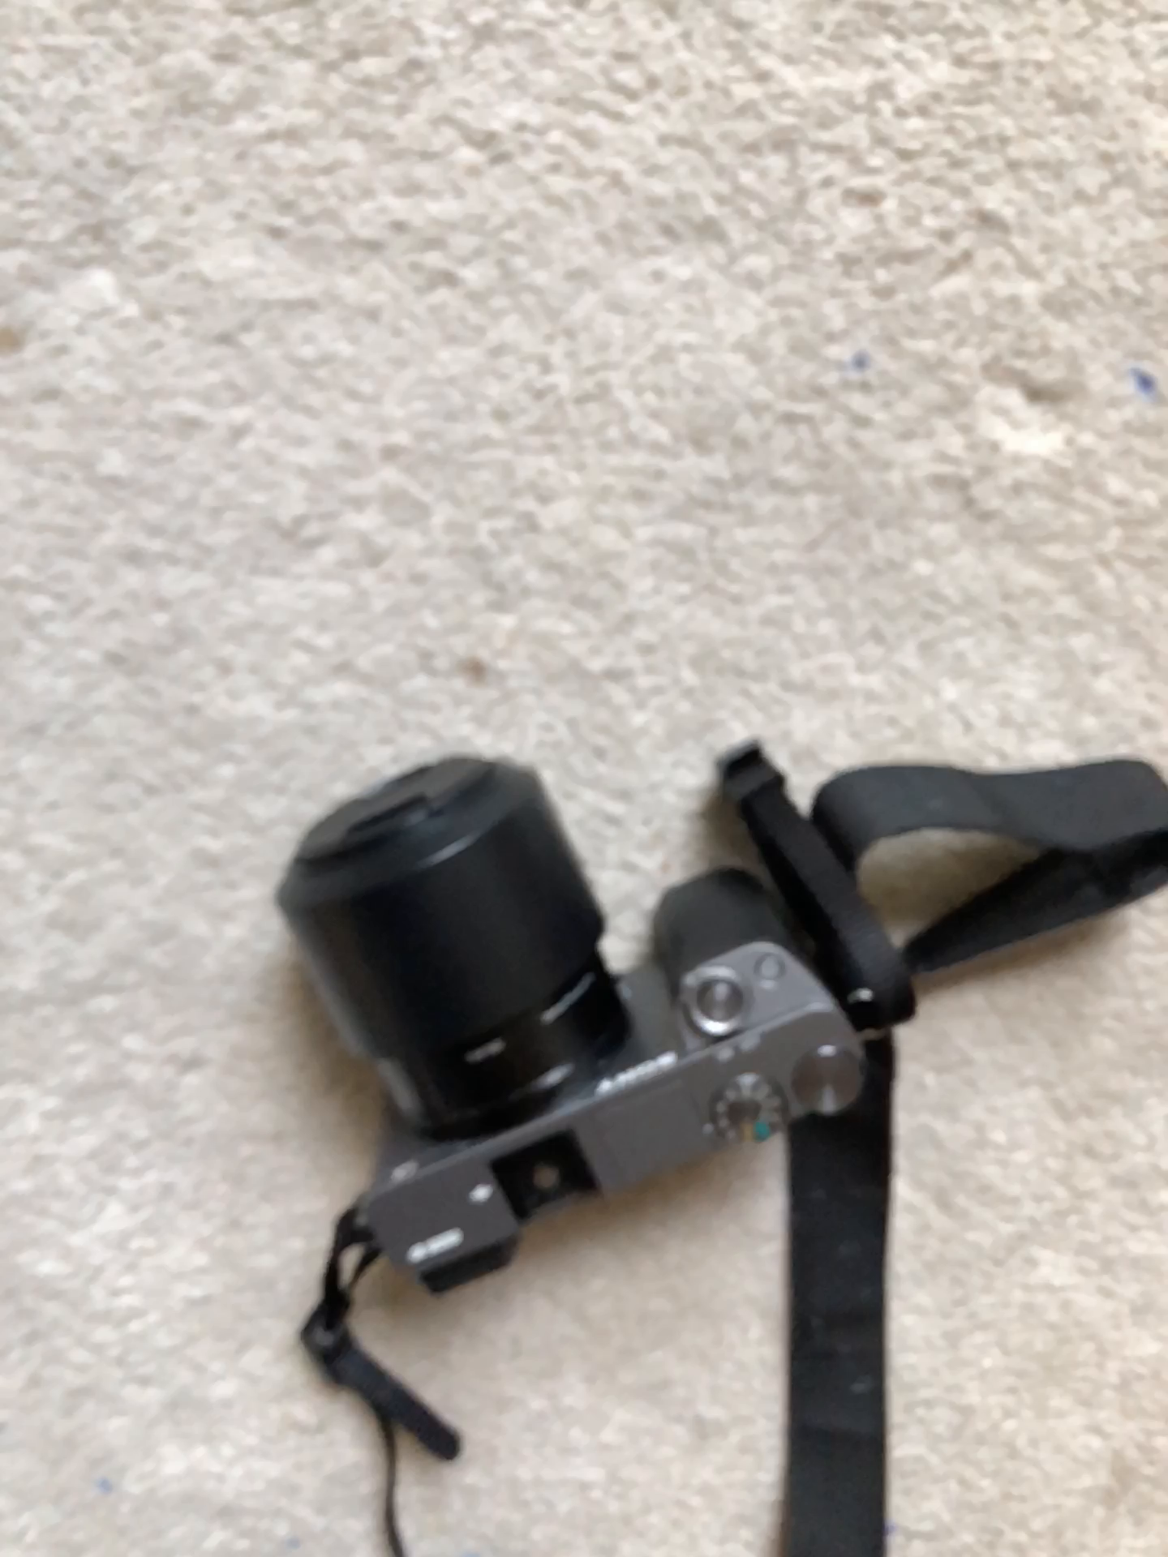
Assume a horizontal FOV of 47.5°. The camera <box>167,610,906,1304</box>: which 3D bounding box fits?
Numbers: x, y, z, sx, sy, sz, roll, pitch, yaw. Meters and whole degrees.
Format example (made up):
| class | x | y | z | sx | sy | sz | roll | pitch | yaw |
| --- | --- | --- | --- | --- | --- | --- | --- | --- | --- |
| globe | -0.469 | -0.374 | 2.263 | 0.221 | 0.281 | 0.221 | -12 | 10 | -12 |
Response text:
| class | x | y | z | sx | sy | sz | roll | pitch | yaw |
| --- | --- | --- | --- | --- | --- | --- | --- | --- | --- |
| camera | -0.009 | 0.036 | 0.303 | 0.120 | 0.070 | 0.100 | -24 | 104 | 2 |
